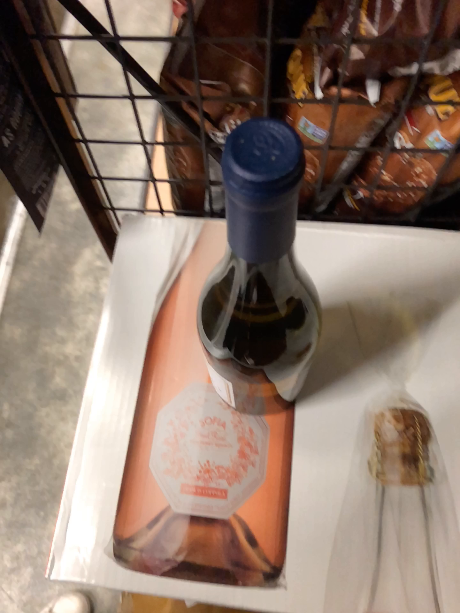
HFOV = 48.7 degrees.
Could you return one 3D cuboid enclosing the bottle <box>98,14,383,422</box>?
[{"bbox_3d":[0.011,-0.007,0.294,0.083,0.282,0.084,-1,66,1],"label":"bottle"}]
